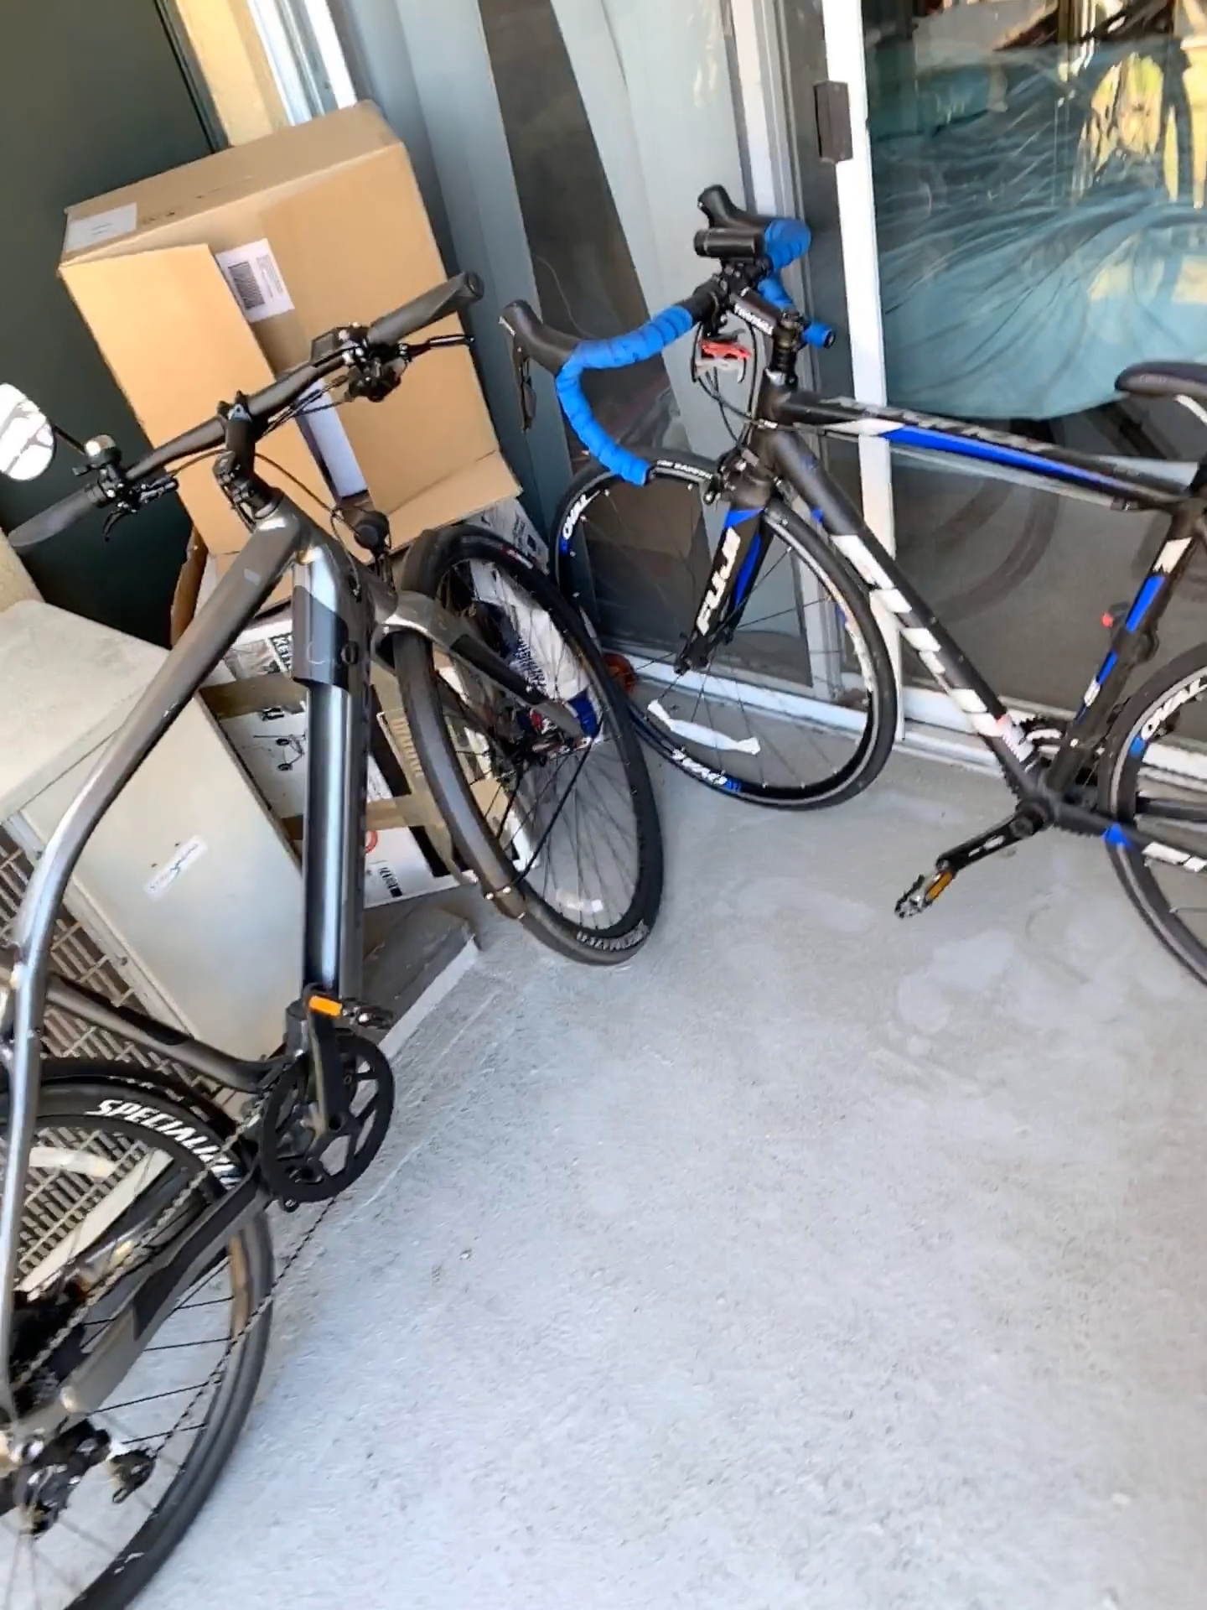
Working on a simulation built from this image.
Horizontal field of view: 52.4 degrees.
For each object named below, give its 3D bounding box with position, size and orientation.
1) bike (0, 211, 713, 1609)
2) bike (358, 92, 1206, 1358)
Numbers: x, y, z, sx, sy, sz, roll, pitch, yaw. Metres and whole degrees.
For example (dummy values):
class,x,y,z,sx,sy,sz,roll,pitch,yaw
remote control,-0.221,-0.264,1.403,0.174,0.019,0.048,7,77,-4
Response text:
class,x,y,z,sx,sy,sz,roll,pitch,yaw
bike,-0.534,0.092,1.445,0.625,0.971,1.584,11,47,28
bike,0.481,-0.191,1.438,1.510,0.932,0.362,27,57,34
